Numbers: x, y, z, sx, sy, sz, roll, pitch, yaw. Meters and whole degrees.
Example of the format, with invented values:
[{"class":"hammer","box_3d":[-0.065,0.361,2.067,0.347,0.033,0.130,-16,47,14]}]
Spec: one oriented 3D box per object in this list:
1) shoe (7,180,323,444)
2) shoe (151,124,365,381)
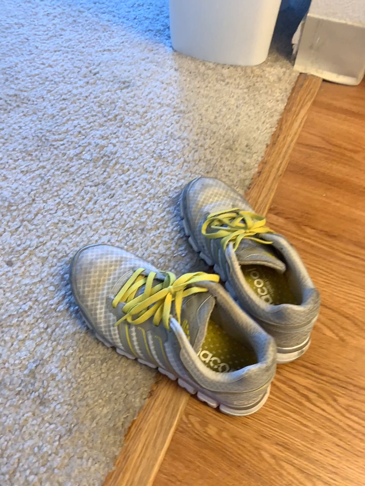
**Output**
[{"class":"shoe","box_3d":[-0.024,0.064,0.351,0.250,0.130,0.080,30,60,17]},{"class":"shoe","box_3d":[0.068,-0.001,0.408,0.090,0.090,0.261,-27,60,-10]}]
